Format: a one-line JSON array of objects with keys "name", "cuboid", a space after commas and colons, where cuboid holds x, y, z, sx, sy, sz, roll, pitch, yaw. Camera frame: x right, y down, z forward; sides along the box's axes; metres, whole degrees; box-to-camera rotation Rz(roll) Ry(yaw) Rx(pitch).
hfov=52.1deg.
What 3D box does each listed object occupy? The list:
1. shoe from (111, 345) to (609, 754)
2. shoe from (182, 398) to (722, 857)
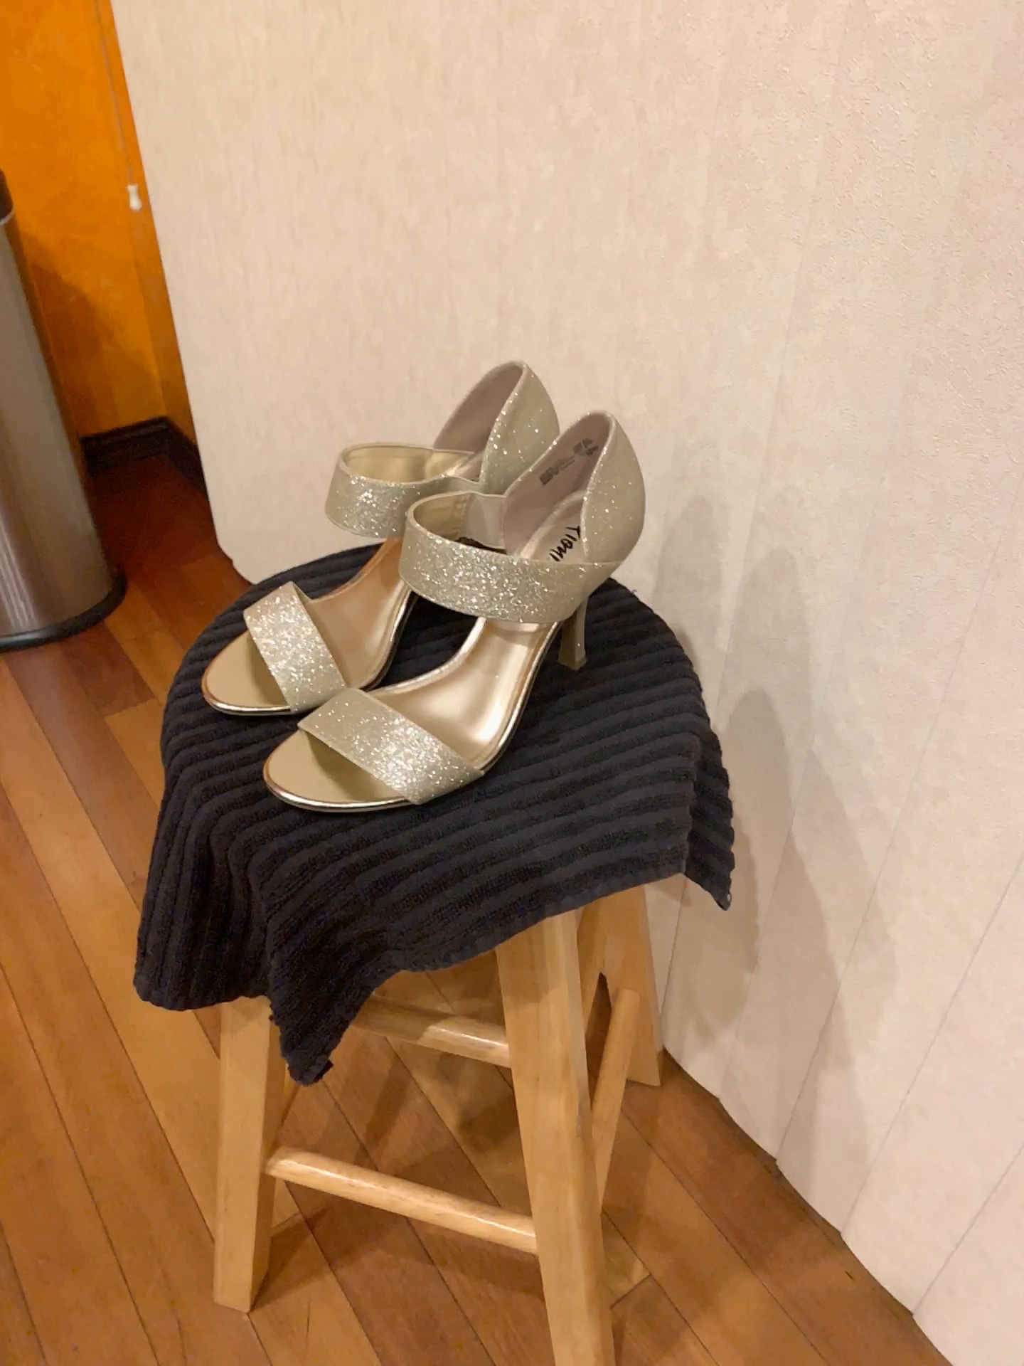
[{"name": "shoe", "cuboid": [-0.073, -0.081, 0.576, 0.236, 0.129, 0.095, -24, 46, -26]}, {"name": "shoe", "cuboid": [-0.022, -0.036, 0.522, 0.237, 0.129, 0.090, -24, 46, -26]}]
